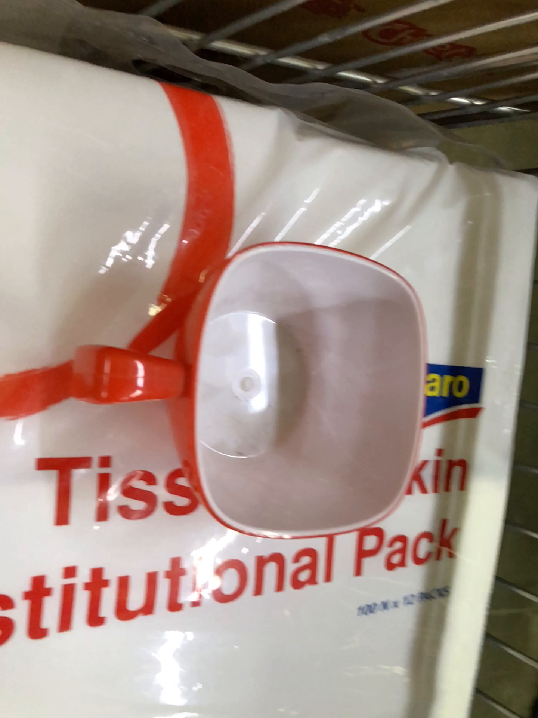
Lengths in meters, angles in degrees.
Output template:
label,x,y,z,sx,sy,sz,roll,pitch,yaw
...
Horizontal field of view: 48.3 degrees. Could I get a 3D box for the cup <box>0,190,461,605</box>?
label,x,y,z,sx,sy,sz,roll,pitch,yaw
cup,-0.010,0.007,0.187,0.120,0.060,0.090,4,98,-38
